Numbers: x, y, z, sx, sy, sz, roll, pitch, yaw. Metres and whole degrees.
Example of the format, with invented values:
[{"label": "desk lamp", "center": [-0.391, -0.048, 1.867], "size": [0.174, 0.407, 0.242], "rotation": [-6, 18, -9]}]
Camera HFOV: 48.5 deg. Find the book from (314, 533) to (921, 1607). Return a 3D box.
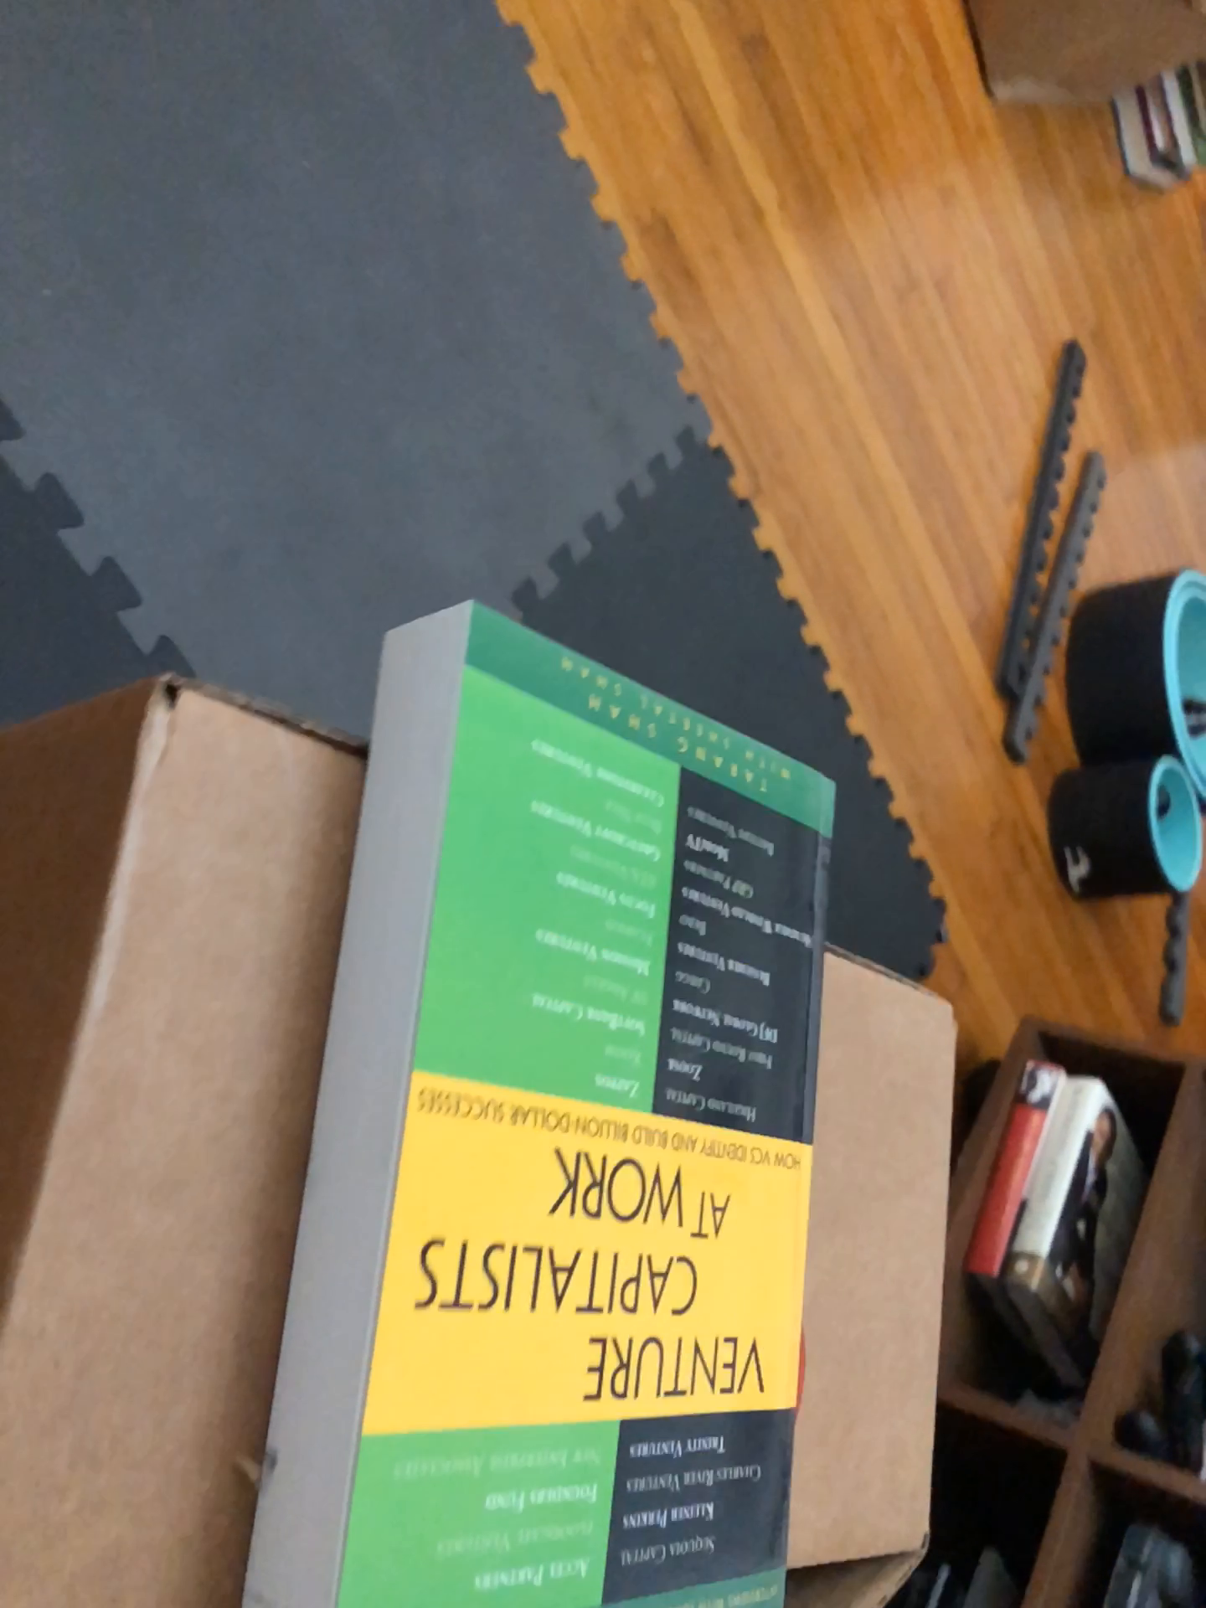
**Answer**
[{"label": "book", "center": [0.022, 0.084, 0.349], "size": [0.161, 0.040, 0.260], "rotation": [22, 66, -44]}]
